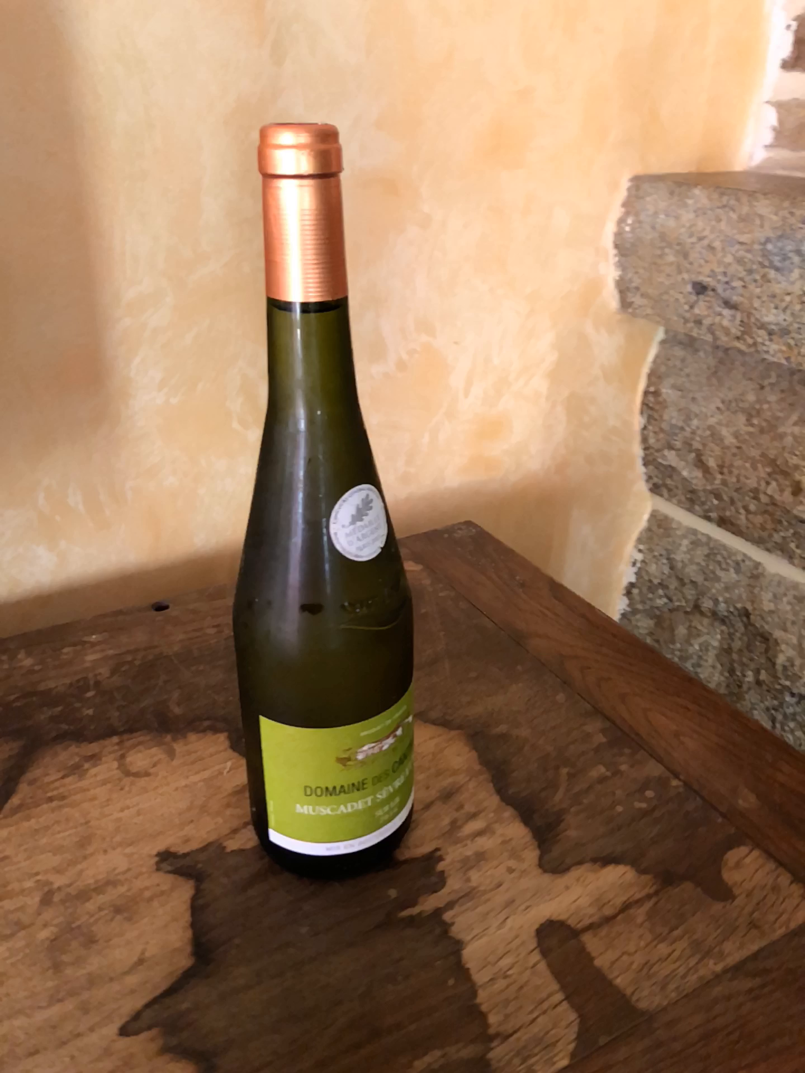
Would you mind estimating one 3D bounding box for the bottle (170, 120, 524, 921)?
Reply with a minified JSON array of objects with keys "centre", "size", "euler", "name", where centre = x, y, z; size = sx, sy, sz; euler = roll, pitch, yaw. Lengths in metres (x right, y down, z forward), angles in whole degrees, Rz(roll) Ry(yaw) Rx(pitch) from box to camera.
[{"centre":[-0.022,0.000,0.365],"size":[0.090,0.308,0.080],"euler":[-17,31,-33],"name":"bottle"}]
